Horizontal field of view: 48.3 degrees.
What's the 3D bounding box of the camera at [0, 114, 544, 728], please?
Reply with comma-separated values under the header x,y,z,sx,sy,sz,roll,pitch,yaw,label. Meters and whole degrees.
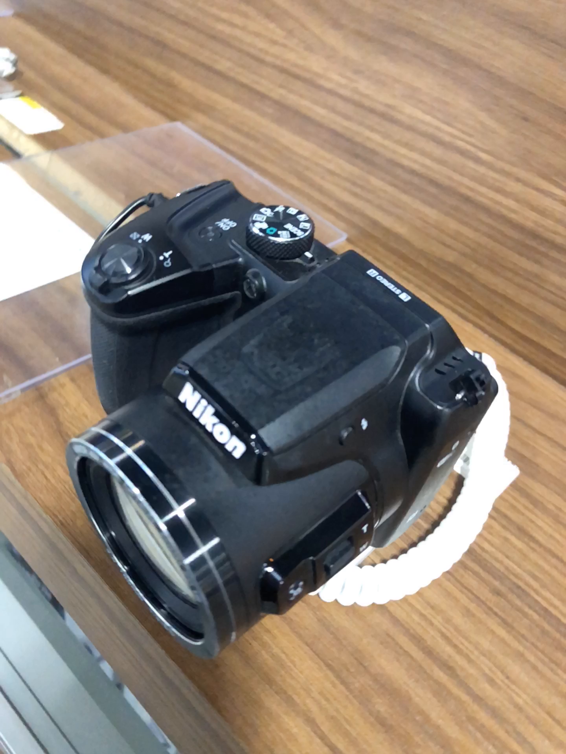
x,y,z,sx,sy,sz,roll,pitch,yaw,label
-0.021,-0.004,0.175,0.130,0.070,0.100,39,47,22,camera
